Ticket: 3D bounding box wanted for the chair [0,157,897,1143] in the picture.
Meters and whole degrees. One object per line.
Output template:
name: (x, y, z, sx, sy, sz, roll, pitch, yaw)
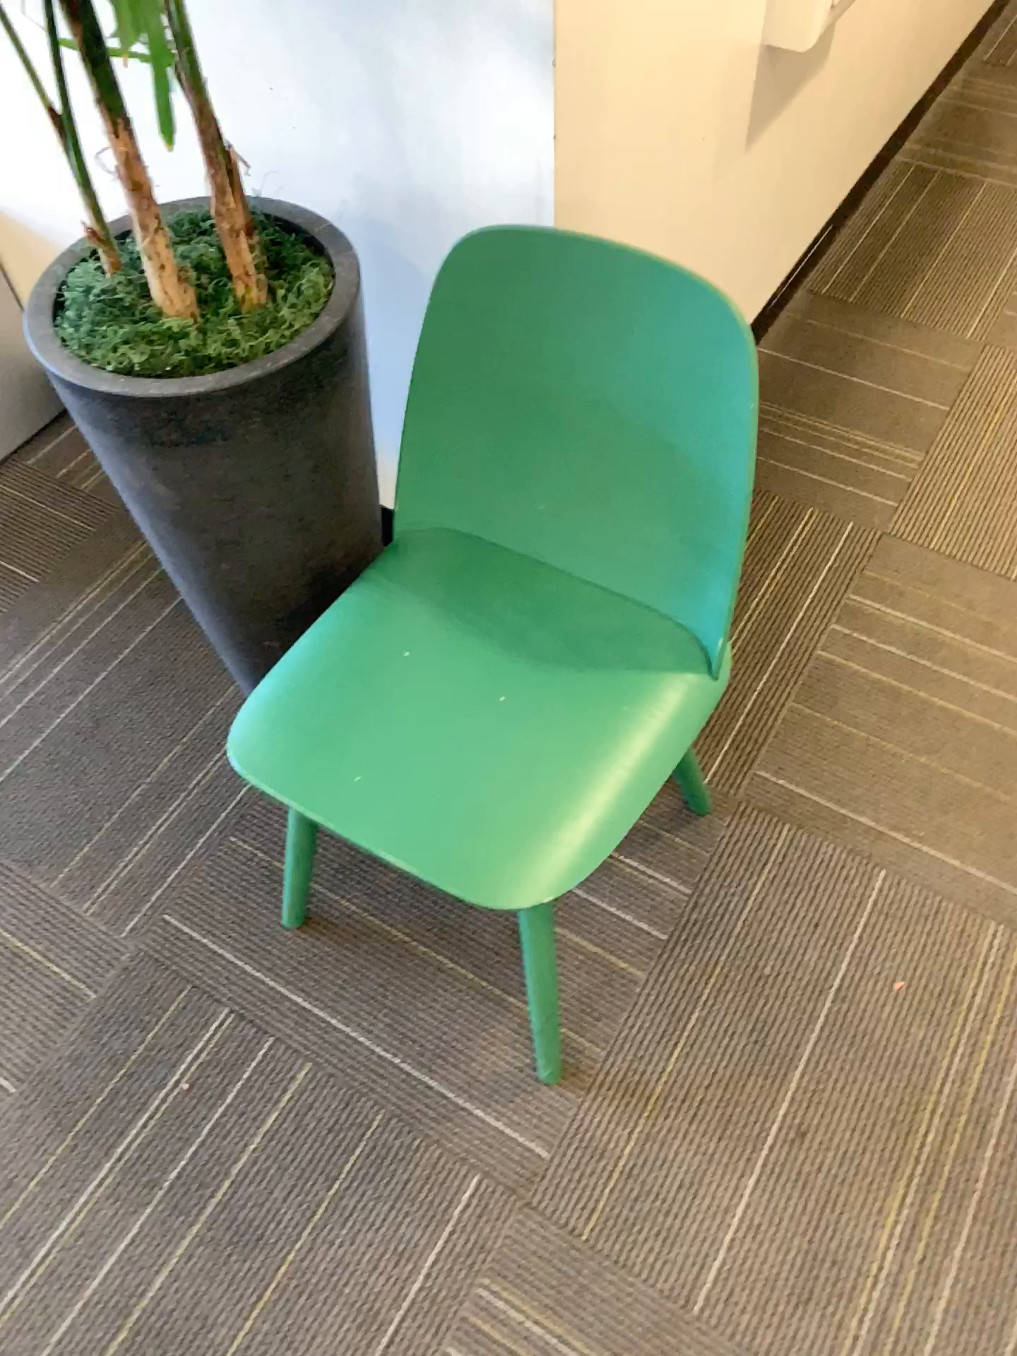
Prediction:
chair: (-0.023, 0.003, 1.119, 0.501, 0.748, 0.601, 25, 59, 20)
